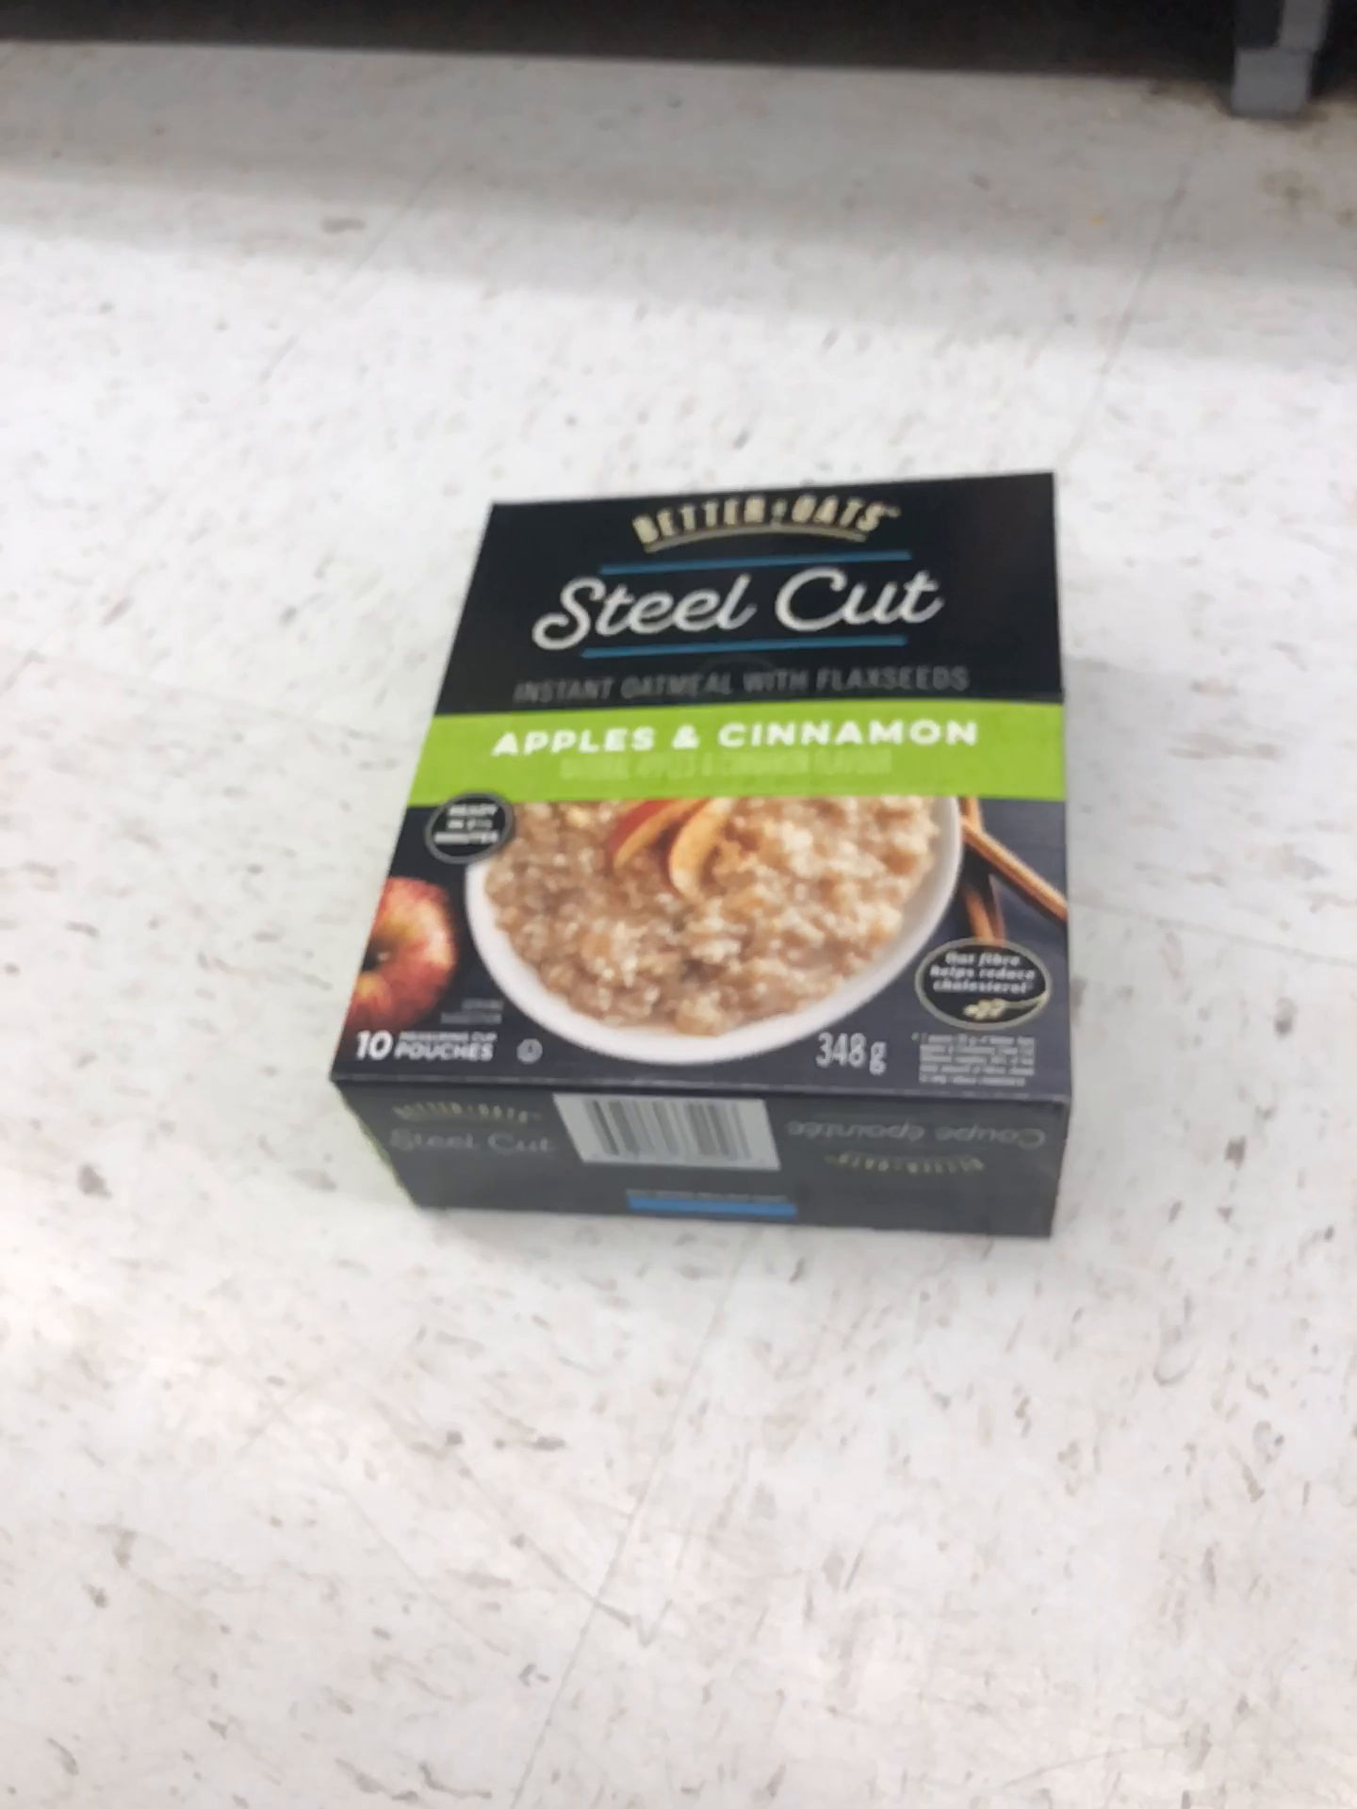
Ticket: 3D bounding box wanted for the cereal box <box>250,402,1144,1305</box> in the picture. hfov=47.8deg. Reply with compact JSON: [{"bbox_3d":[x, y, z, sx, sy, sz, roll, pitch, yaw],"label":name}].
[{"bbox_3d":[0.015,-0.021,0.356,0.160,0.070,0.200,0,54,11],"label":"cereal box"}]
